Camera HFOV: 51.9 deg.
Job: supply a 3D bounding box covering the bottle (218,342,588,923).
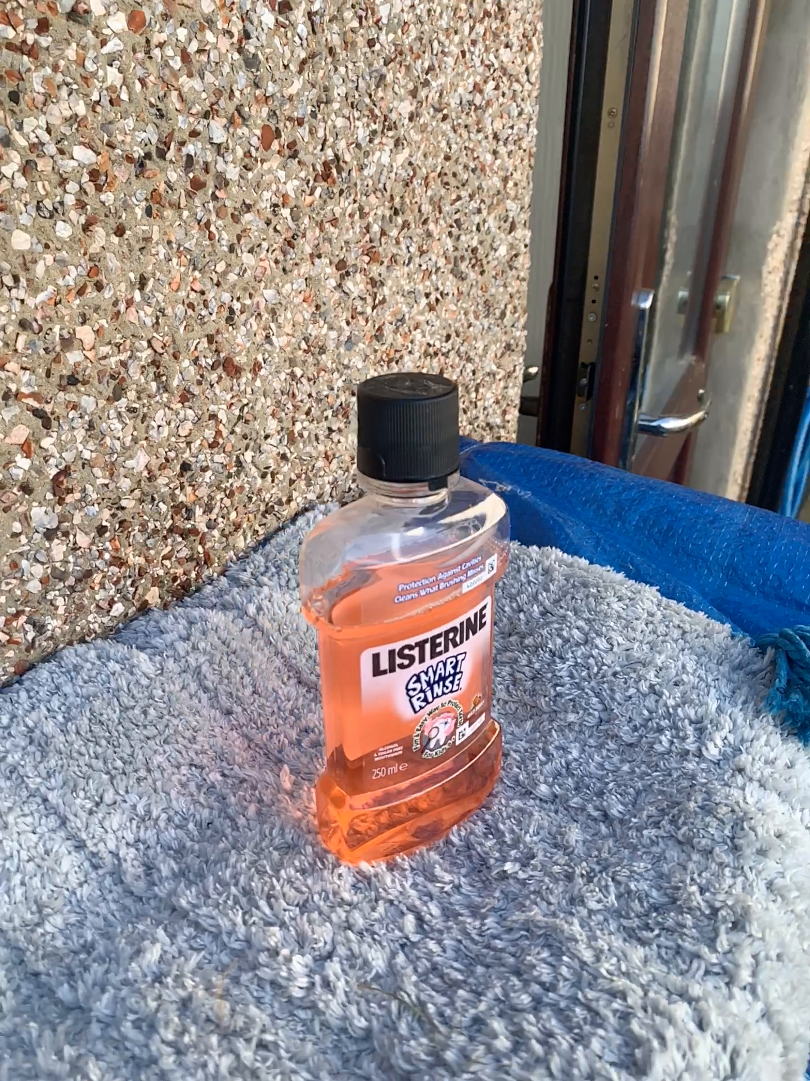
[{"bbox_3d":[0.001,0.029,0.268,0.090,0.158,0.050,-21,35,-32],"label":"bottle"}]
